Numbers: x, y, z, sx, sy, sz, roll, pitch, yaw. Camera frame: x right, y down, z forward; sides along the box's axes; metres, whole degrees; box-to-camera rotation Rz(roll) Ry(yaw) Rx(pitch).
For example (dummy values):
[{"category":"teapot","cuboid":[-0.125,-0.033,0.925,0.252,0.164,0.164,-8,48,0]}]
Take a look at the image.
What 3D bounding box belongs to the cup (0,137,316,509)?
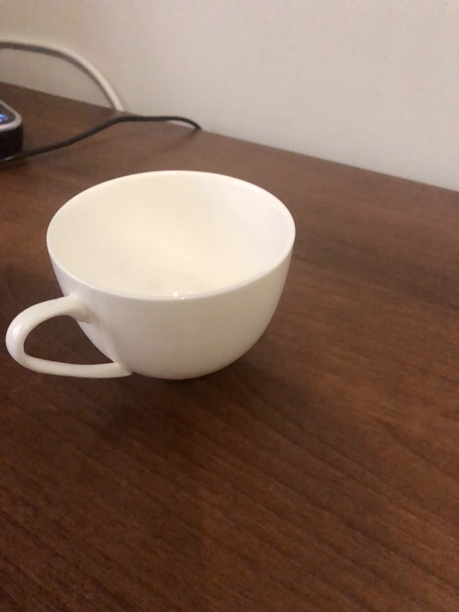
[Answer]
[{"category":"cup","cuboid":[-0.040,-0.006,0.199,0.090,0.069,0.110,31,46,33]}]
